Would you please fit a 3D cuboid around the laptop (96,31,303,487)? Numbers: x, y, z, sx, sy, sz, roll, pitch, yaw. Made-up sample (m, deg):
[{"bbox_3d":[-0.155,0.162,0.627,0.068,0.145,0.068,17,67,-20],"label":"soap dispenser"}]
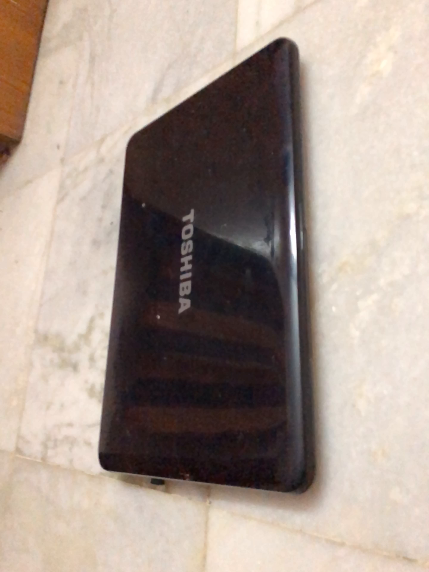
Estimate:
[{"bbox_3d":[-0.023,-0.024,0.422,0.225,0.004,0.359,-15,66,41],"label":"laptop"}]
